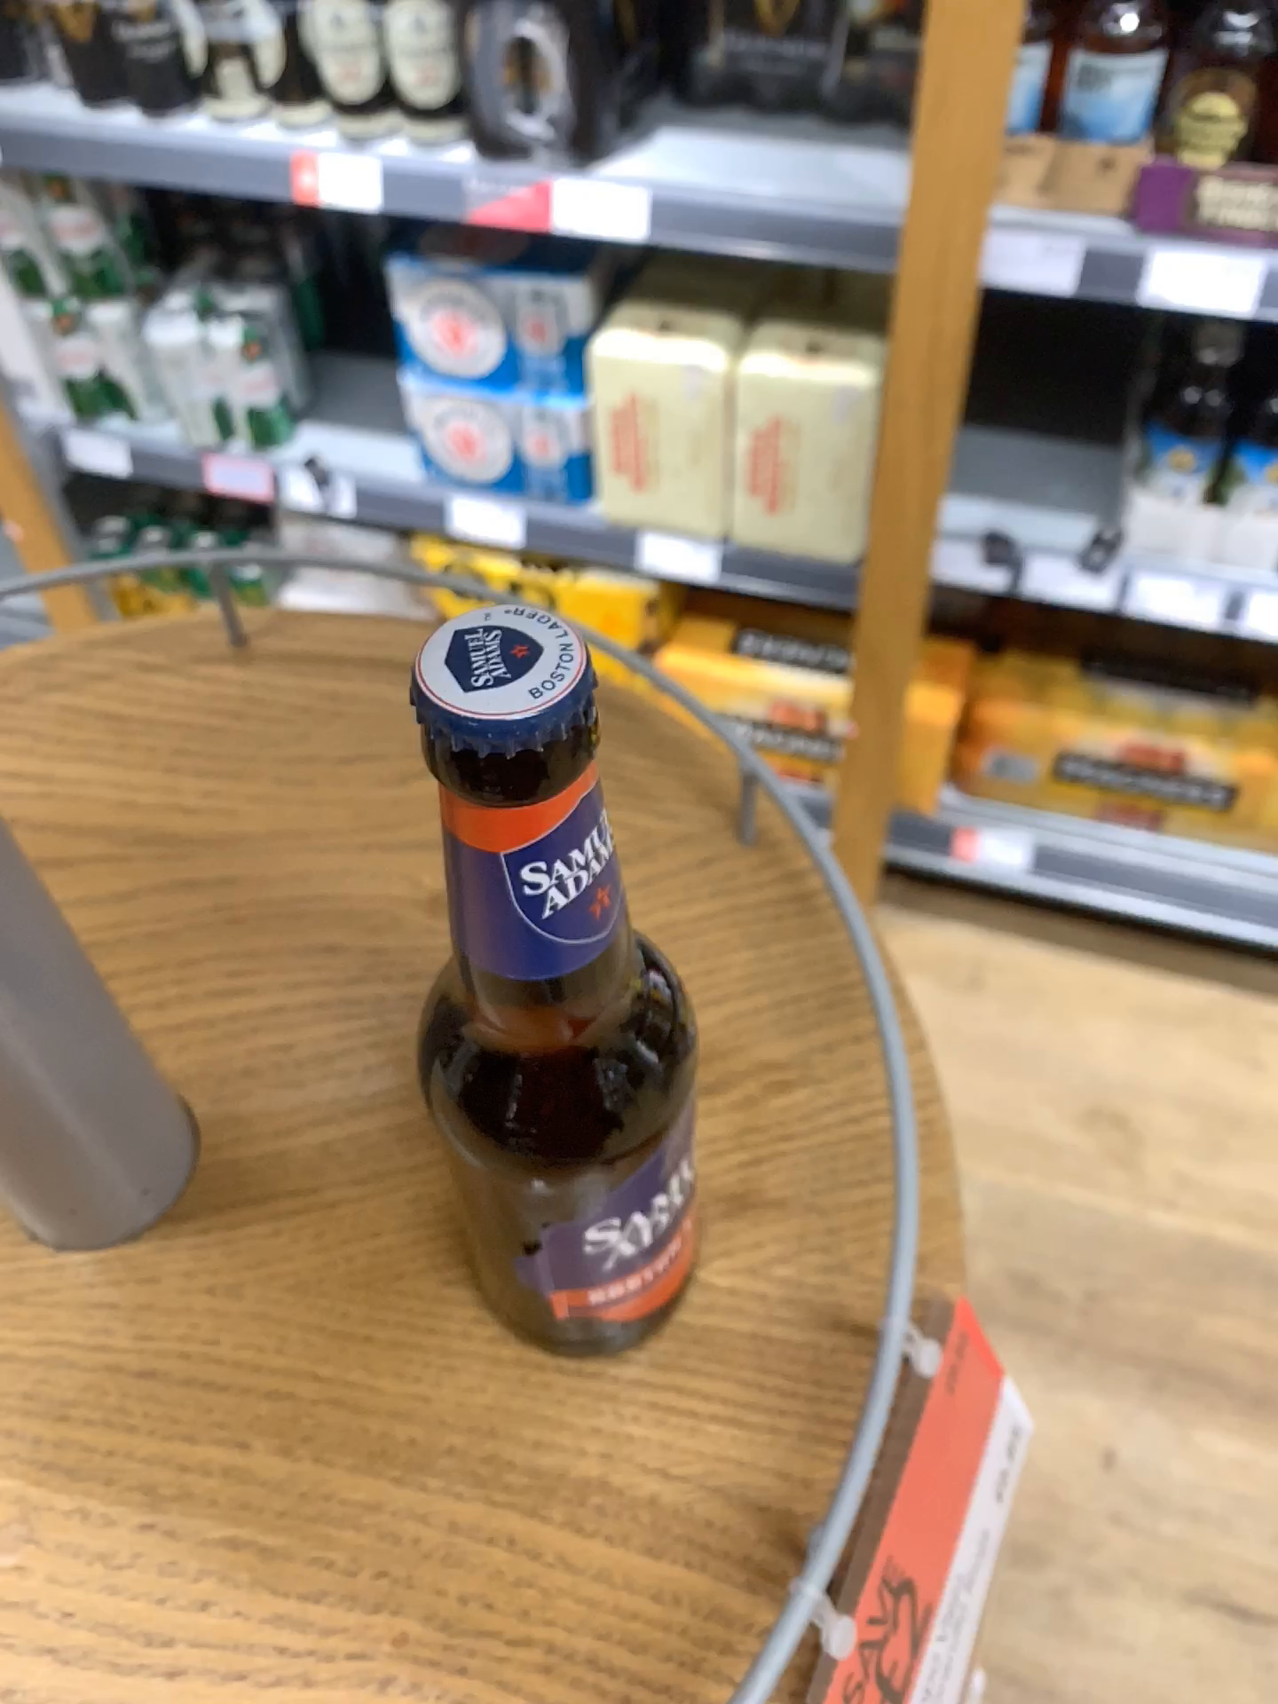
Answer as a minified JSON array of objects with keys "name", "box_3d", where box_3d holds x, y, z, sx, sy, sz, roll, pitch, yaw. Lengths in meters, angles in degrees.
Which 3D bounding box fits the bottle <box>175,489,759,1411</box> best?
[{"name":"bottle","box_3d":[-0.019,0.039,0.277,0.061,0.211,0.063,-1,51,2]}]
